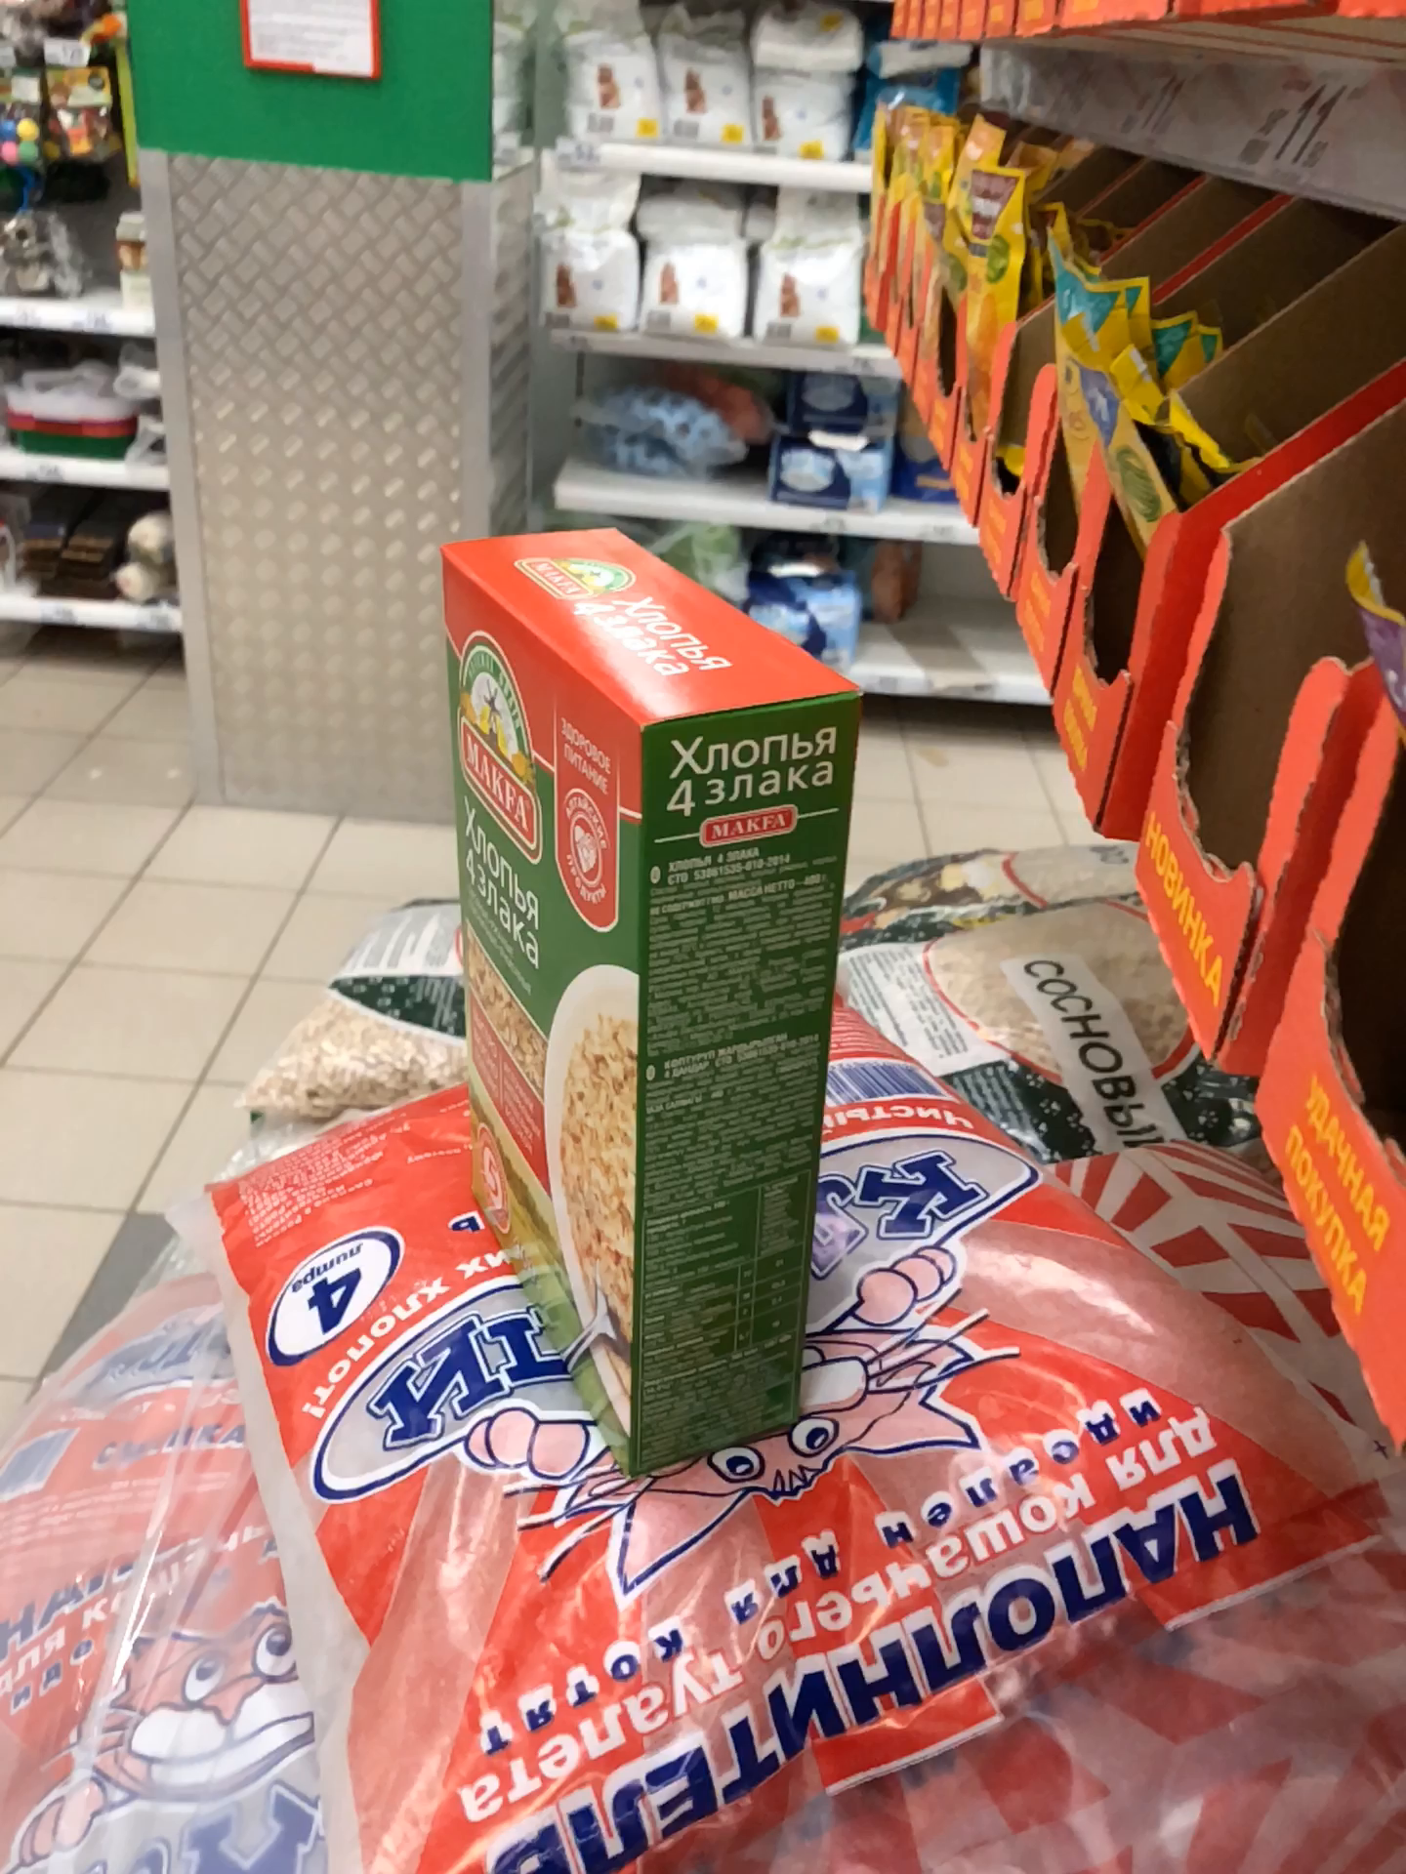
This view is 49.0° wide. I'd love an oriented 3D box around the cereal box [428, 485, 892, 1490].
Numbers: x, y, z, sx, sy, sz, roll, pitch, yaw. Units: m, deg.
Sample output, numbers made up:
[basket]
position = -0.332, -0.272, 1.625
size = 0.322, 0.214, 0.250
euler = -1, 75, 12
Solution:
[cereal box]
position = -0.021, 0.011, 0.408
size = 0.050, 0.219, 0.141
euler = -13, 34, -24
